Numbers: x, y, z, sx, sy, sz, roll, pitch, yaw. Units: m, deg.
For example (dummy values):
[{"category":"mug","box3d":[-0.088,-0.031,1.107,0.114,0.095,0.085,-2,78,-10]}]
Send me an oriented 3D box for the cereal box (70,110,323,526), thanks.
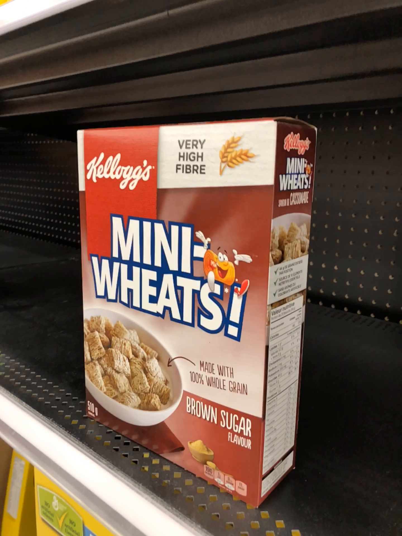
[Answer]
[{"category":"cereal box","box3d":[-0.016,0.025,0.368,0.200,0.279,0.060,11,15,37]}]
